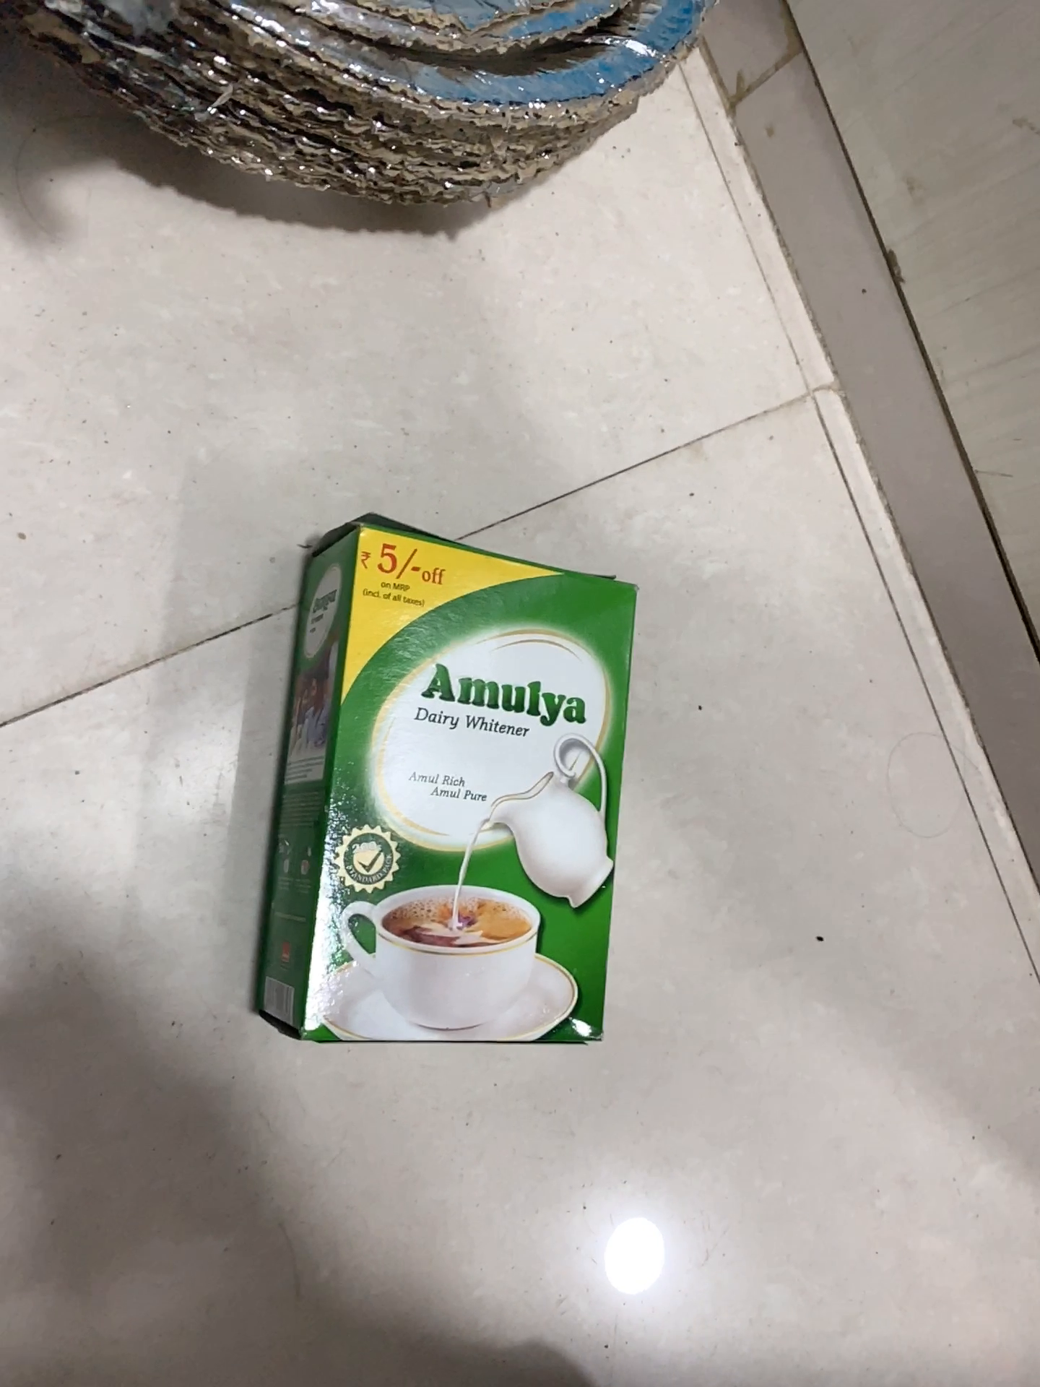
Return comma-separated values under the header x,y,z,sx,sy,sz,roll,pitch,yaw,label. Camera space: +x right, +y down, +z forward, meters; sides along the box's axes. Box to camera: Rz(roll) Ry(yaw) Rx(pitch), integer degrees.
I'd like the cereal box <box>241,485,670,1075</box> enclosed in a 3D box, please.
x,y,z,sx,sy,sz,roll,pitch,yaw,label
-0.017,0.027,0.300,0.090,0.060,0.140,10,80,-27,cereal box
